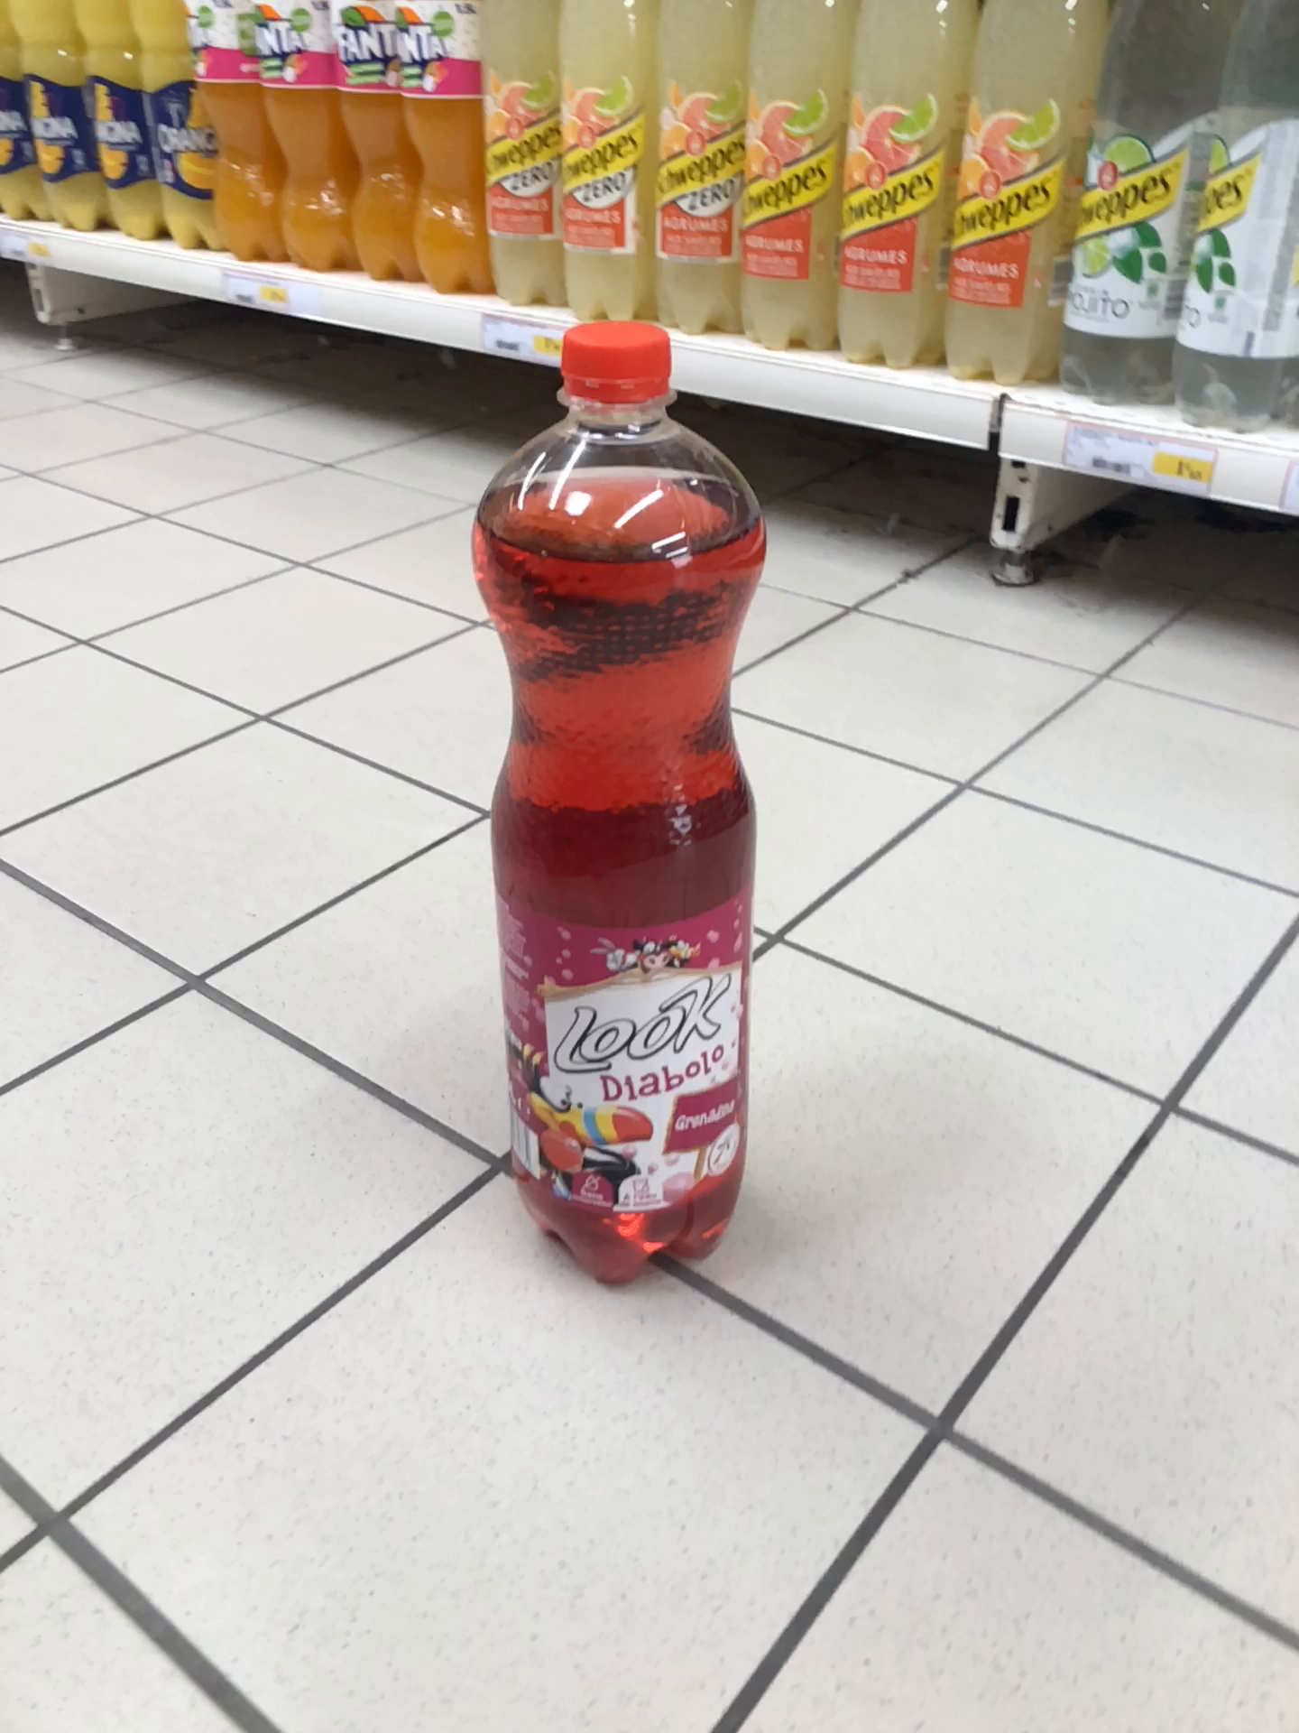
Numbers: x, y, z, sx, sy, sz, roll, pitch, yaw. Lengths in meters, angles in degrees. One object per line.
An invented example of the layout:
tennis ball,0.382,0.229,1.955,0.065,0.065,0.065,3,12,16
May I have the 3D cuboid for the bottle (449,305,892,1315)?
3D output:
bottle,0.000,-0.009,0.465,0.100,0.308,0.100,0,31,0
